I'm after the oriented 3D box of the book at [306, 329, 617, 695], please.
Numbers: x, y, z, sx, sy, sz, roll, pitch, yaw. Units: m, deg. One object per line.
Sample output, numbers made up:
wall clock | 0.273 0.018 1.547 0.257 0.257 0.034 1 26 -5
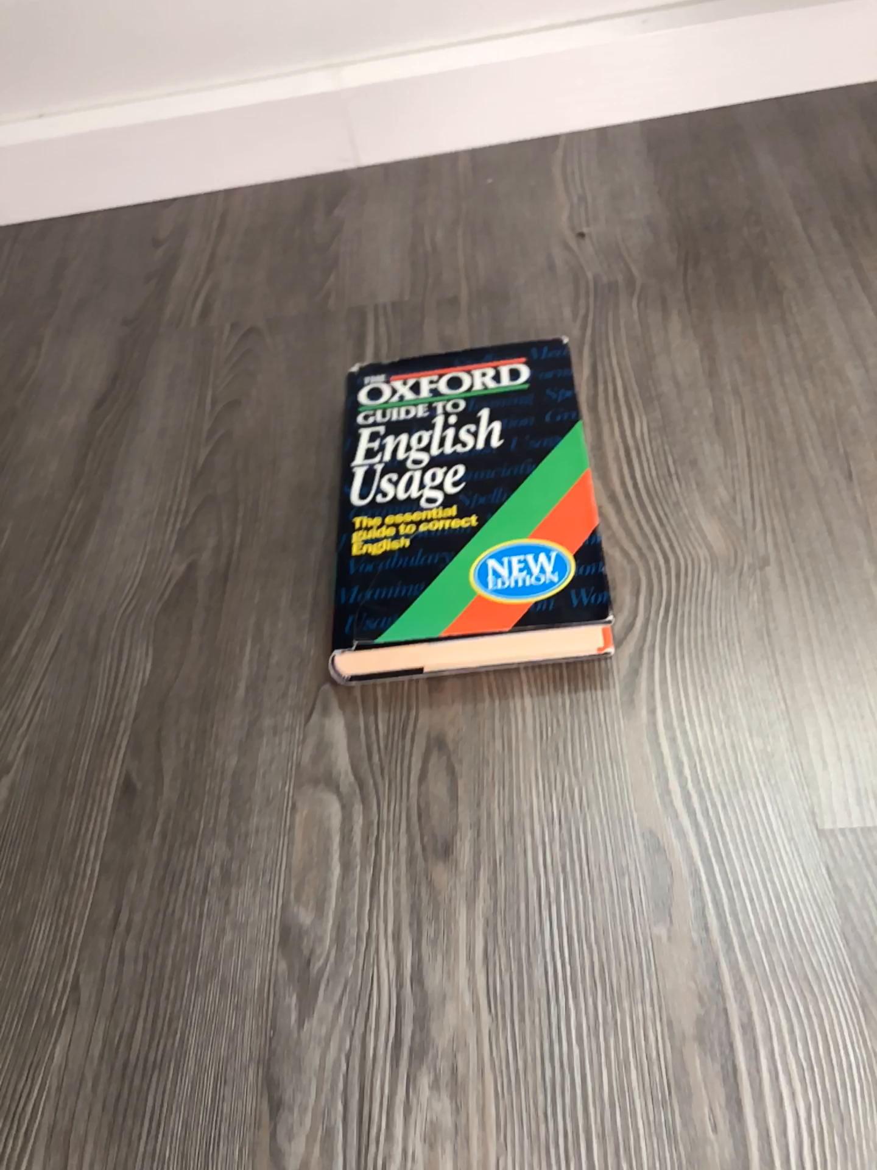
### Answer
book | 0.010 -0.051 0.553 0.150 0.035 0.231 -6 50 6
